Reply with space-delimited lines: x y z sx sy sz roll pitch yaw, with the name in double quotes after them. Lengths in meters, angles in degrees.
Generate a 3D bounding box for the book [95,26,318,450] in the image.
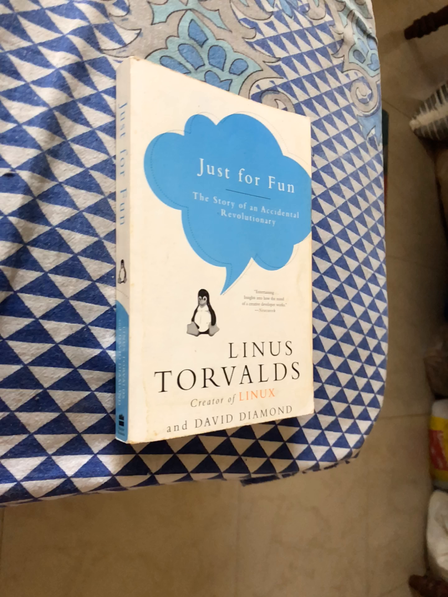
-0.005 -0.030 0.300 0.141 0.030 0.210 2 86 -38 "book"
